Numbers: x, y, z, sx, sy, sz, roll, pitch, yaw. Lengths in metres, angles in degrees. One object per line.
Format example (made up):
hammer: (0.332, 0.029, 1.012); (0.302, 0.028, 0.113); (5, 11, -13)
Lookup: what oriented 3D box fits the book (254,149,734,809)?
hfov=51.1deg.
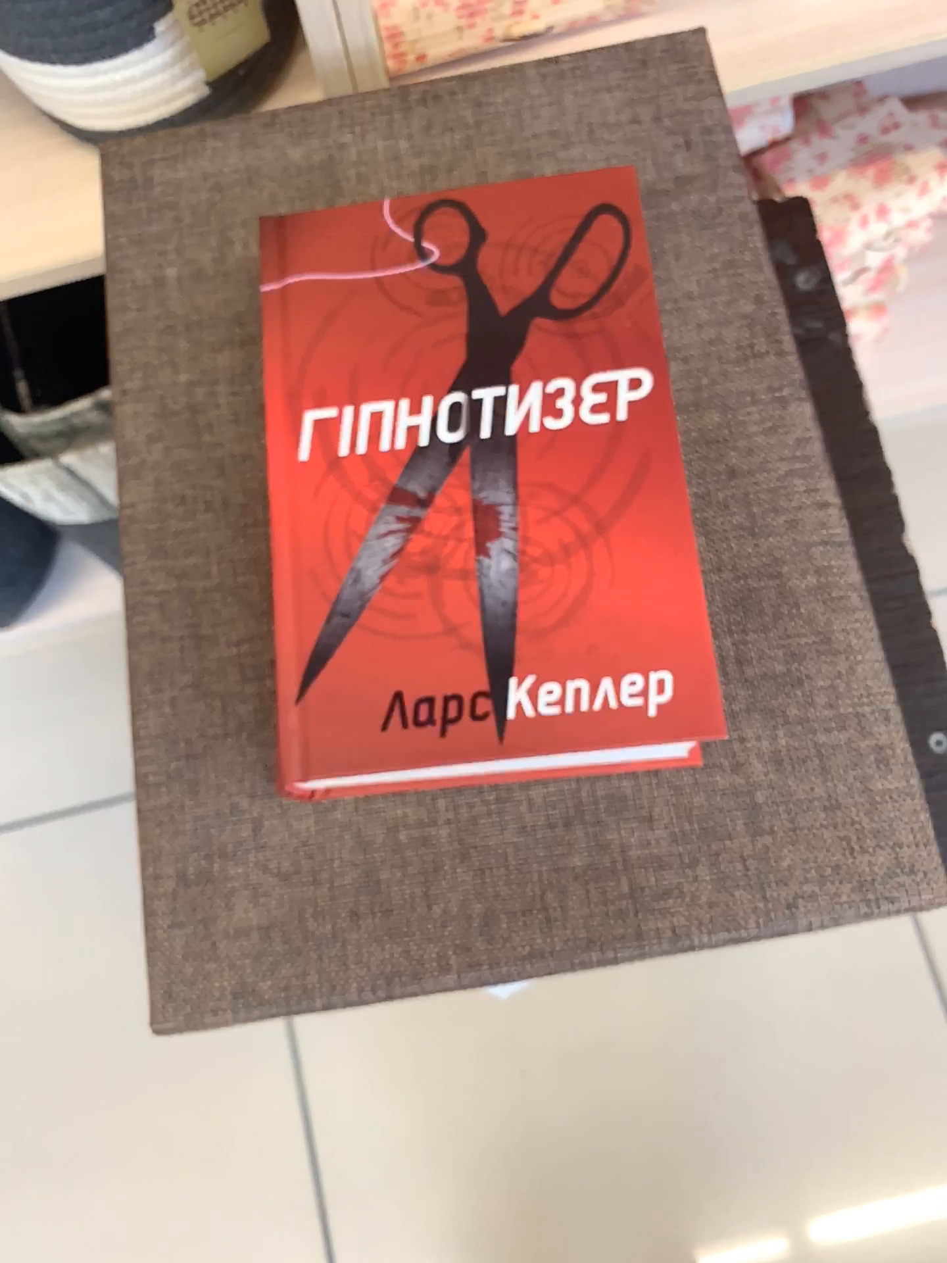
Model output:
book: (0.001, -0.048, 0.327); (0.131, 0.060, 0.195); (-6, 73, 6)
